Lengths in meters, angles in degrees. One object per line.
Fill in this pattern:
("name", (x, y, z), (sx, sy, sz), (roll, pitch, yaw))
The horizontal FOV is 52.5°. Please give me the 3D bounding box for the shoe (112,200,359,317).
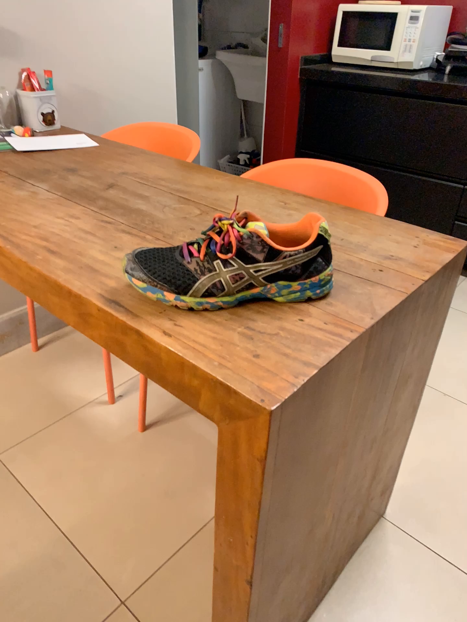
("shoe", (-0.001, -0.079, 0.667), (0.313, 0.112, 0.108), (-4, 33, -9))
